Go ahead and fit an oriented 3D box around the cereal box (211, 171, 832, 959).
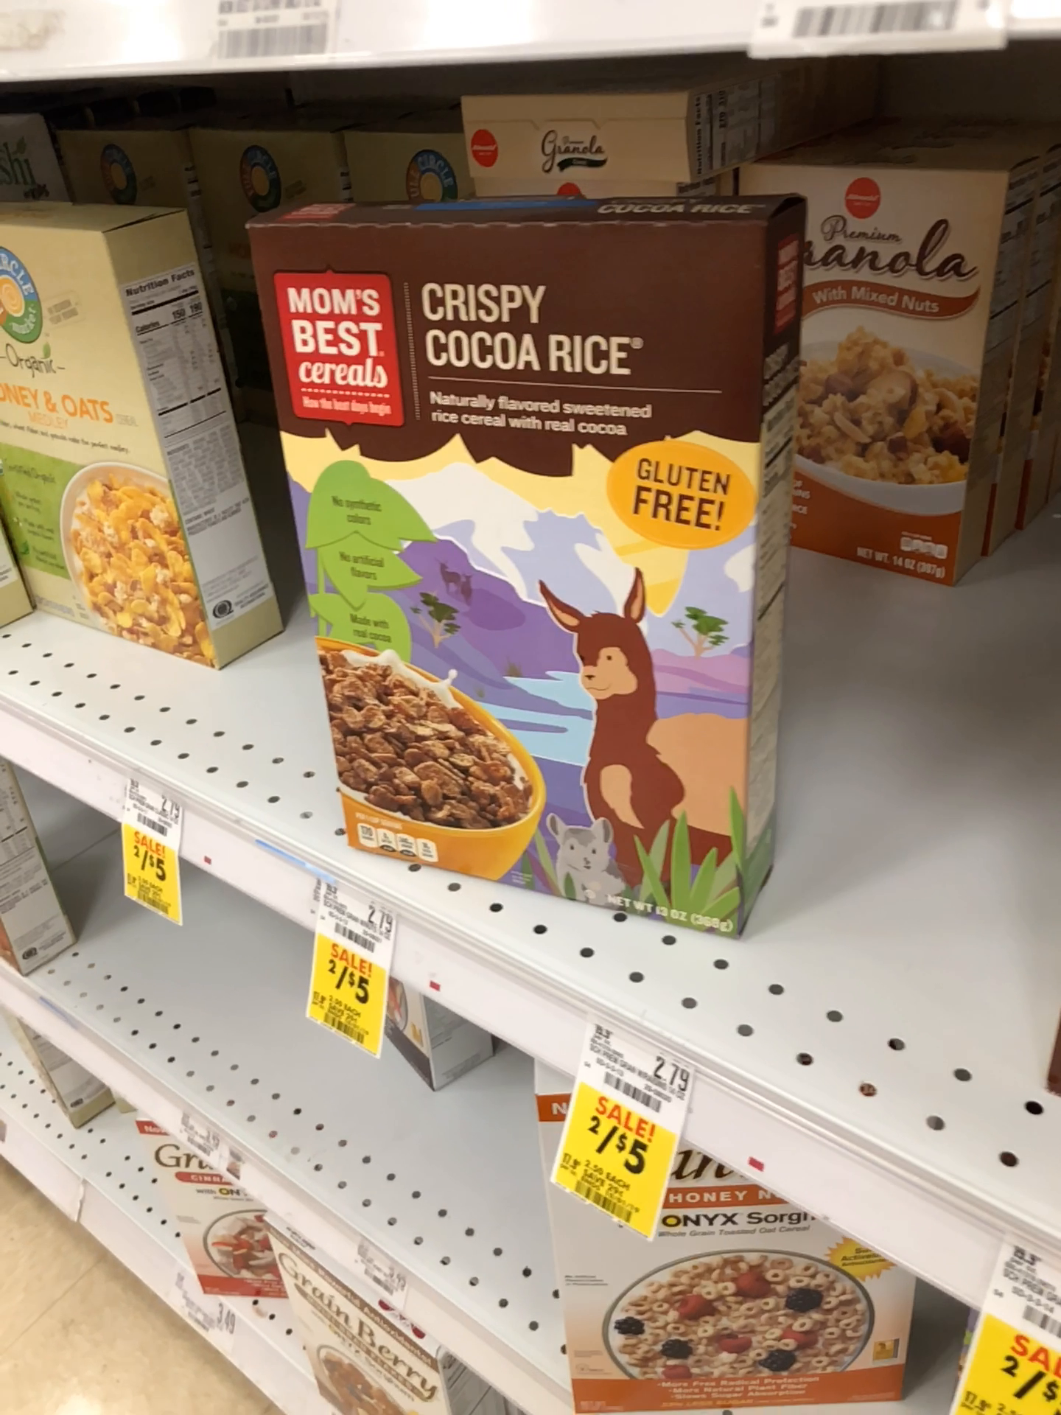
[{"bbox_3d":[0.003,-0.056,0.472,0.200,0.279,0.080,10,32,23],"label":"cereal box"}]
